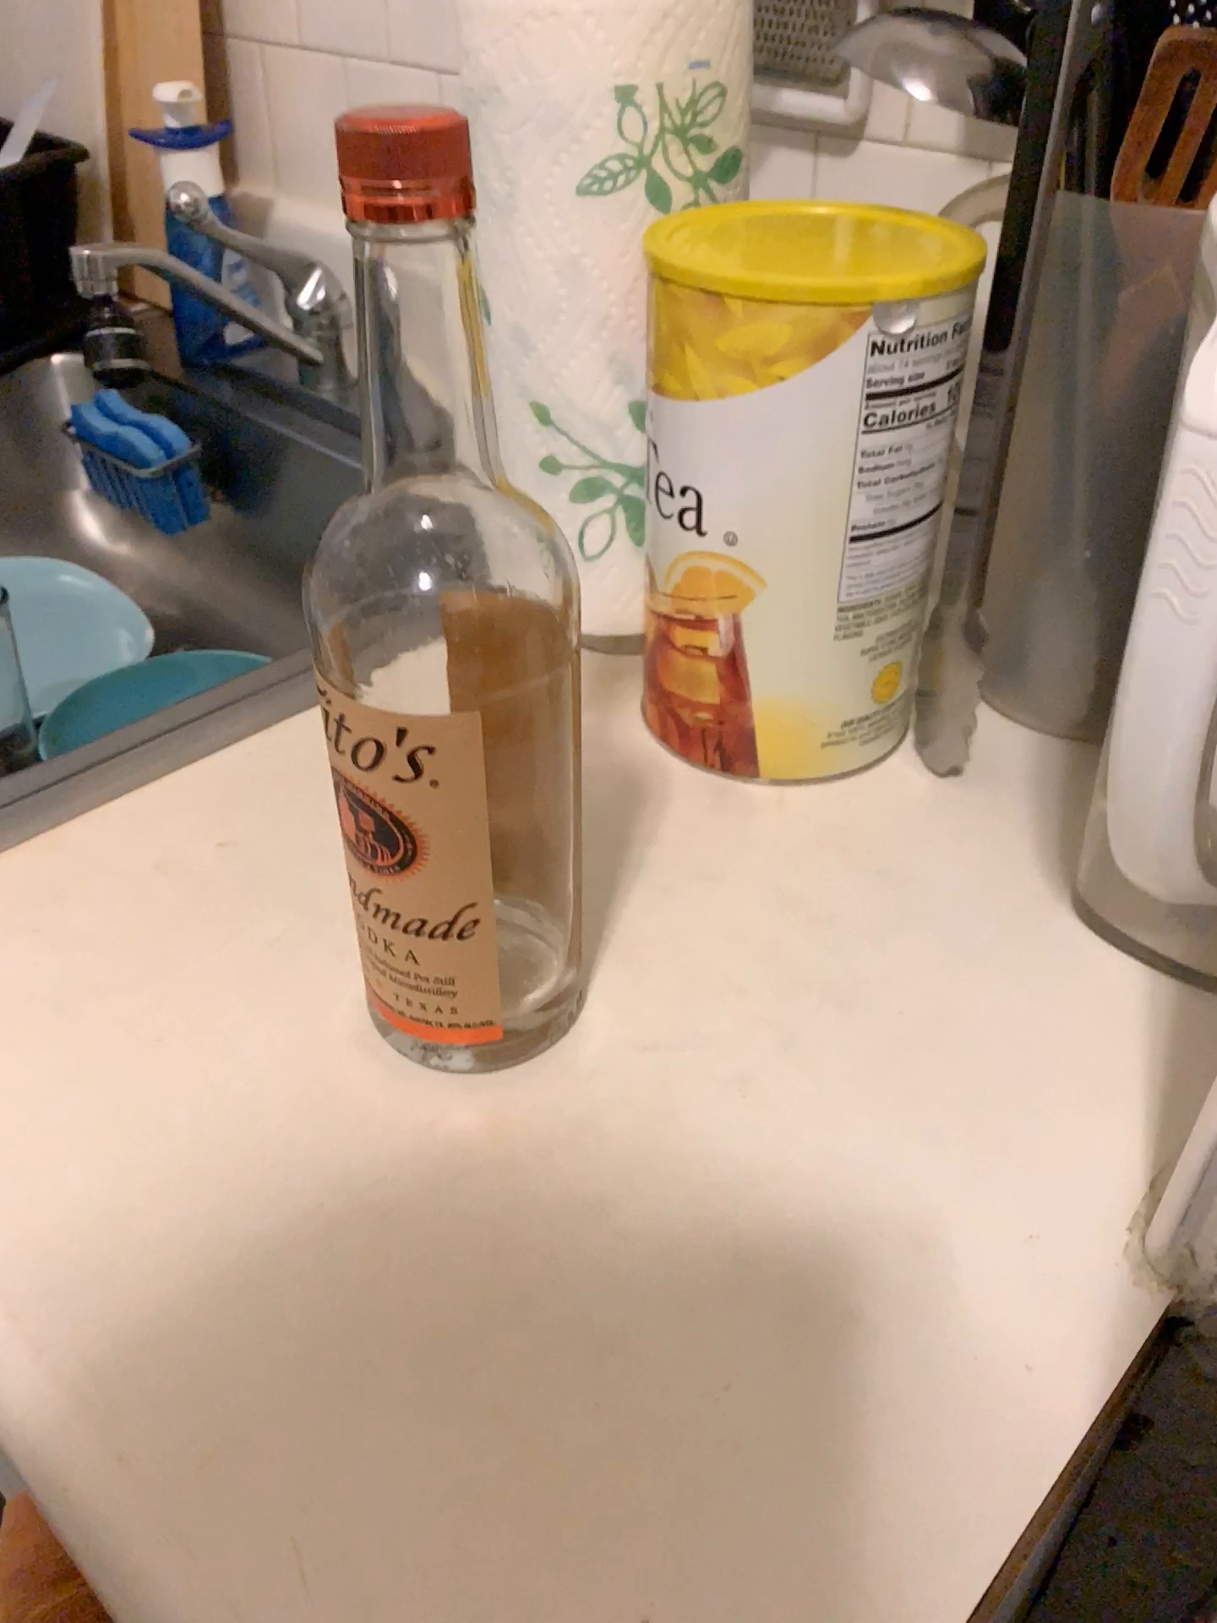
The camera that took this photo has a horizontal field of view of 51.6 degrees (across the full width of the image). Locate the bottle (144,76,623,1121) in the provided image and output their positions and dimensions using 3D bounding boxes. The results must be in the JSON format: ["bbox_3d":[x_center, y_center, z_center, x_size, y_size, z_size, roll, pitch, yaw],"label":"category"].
[{"bbox_3d":[-0.055,-0.047,0.377,0.080,0.288,0.080,1,37,0],"label":"bottle"}]
